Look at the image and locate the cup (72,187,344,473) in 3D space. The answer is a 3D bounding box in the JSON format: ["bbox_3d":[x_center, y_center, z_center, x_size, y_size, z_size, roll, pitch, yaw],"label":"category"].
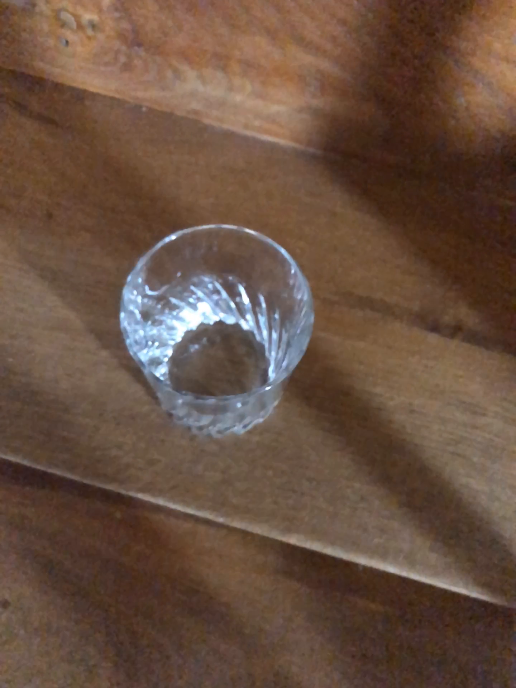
[{"bbox_3d":[-0.025,-0.002,0.276,0.090,0.090,0.090,2,68,-4],"label":"cup"}]
